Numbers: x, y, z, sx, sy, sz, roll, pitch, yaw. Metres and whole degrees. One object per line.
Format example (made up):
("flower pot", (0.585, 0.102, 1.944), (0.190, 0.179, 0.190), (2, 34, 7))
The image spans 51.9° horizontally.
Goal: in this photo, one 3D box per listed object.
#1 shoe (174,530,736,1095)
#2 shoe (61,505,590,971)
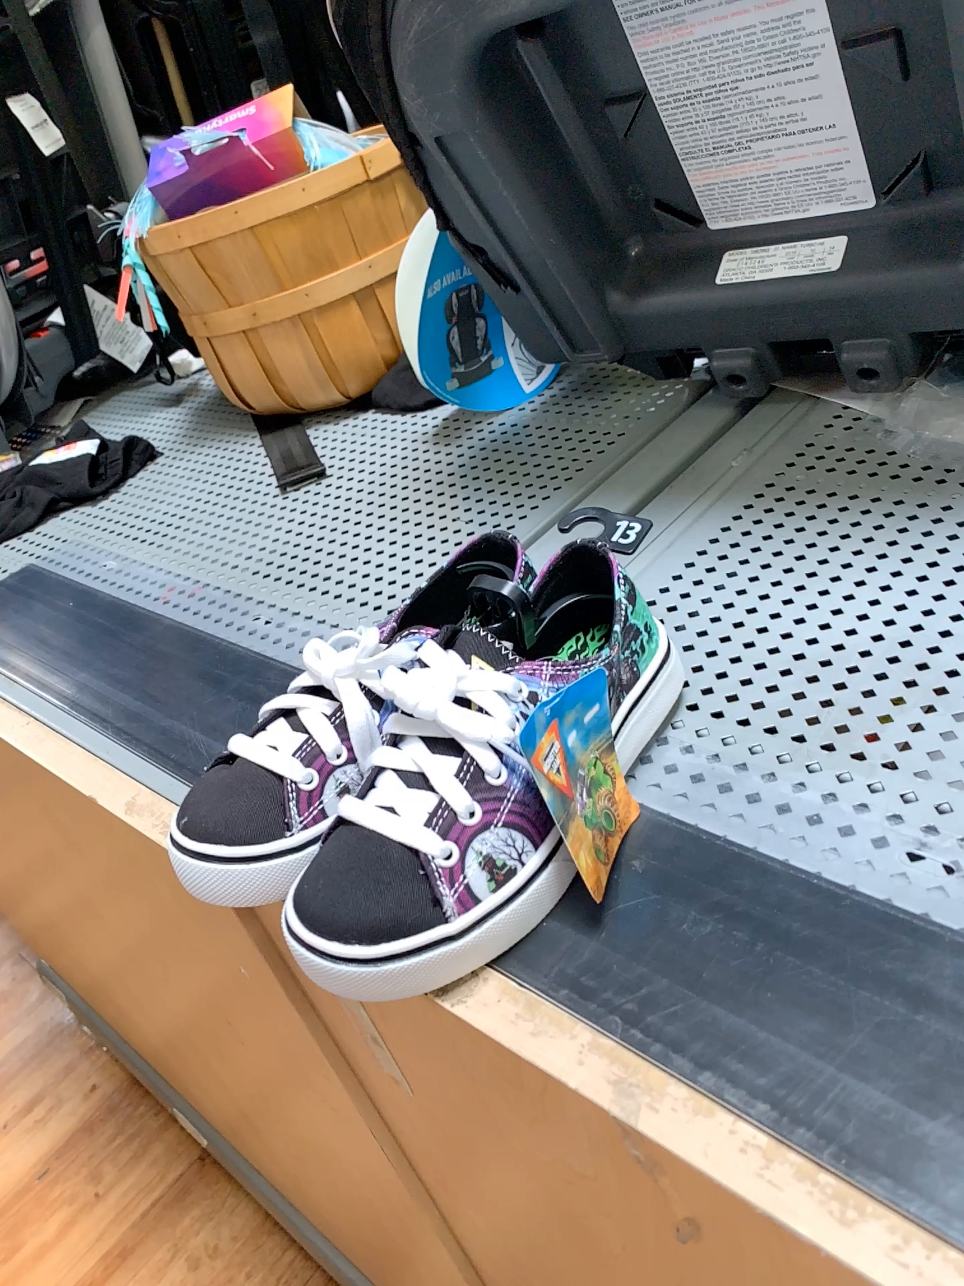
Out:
("shoe", (0.003, 0.048, 0.388), (0.090, 0.073, 0.213), (15, 46, 41))
("shoe", (-0.061, 0.028, 0.443), (0.208, 0.073, 0.092), (-38, 38, -27))
